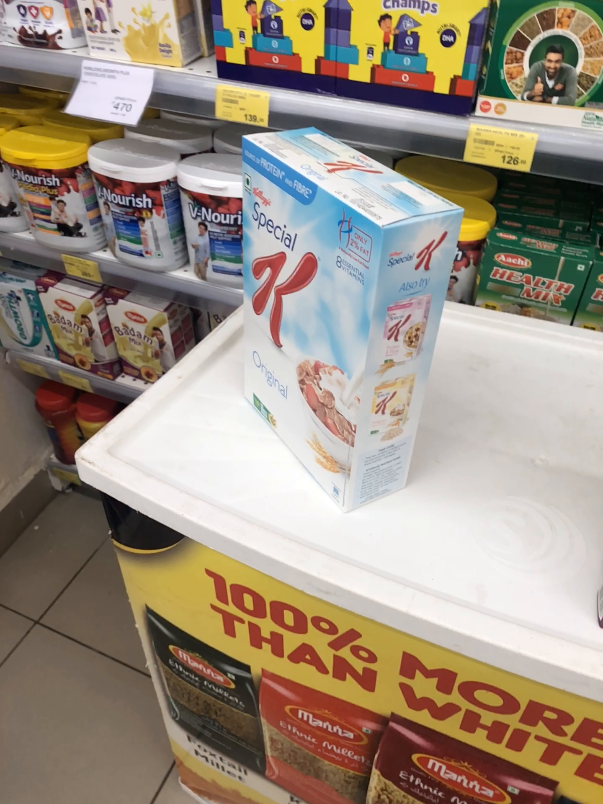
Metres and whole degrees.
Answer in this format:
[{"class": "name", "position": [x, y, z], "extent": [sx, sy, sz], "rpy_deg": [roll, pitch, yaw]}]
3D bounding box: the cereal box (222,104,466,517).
[{"class": "cereal box", "position": [0.015, -0.071, 0.533], "extent": [0.070, 0.259, 0.191], "rpy_deg": [-20, 44, -25]}]
